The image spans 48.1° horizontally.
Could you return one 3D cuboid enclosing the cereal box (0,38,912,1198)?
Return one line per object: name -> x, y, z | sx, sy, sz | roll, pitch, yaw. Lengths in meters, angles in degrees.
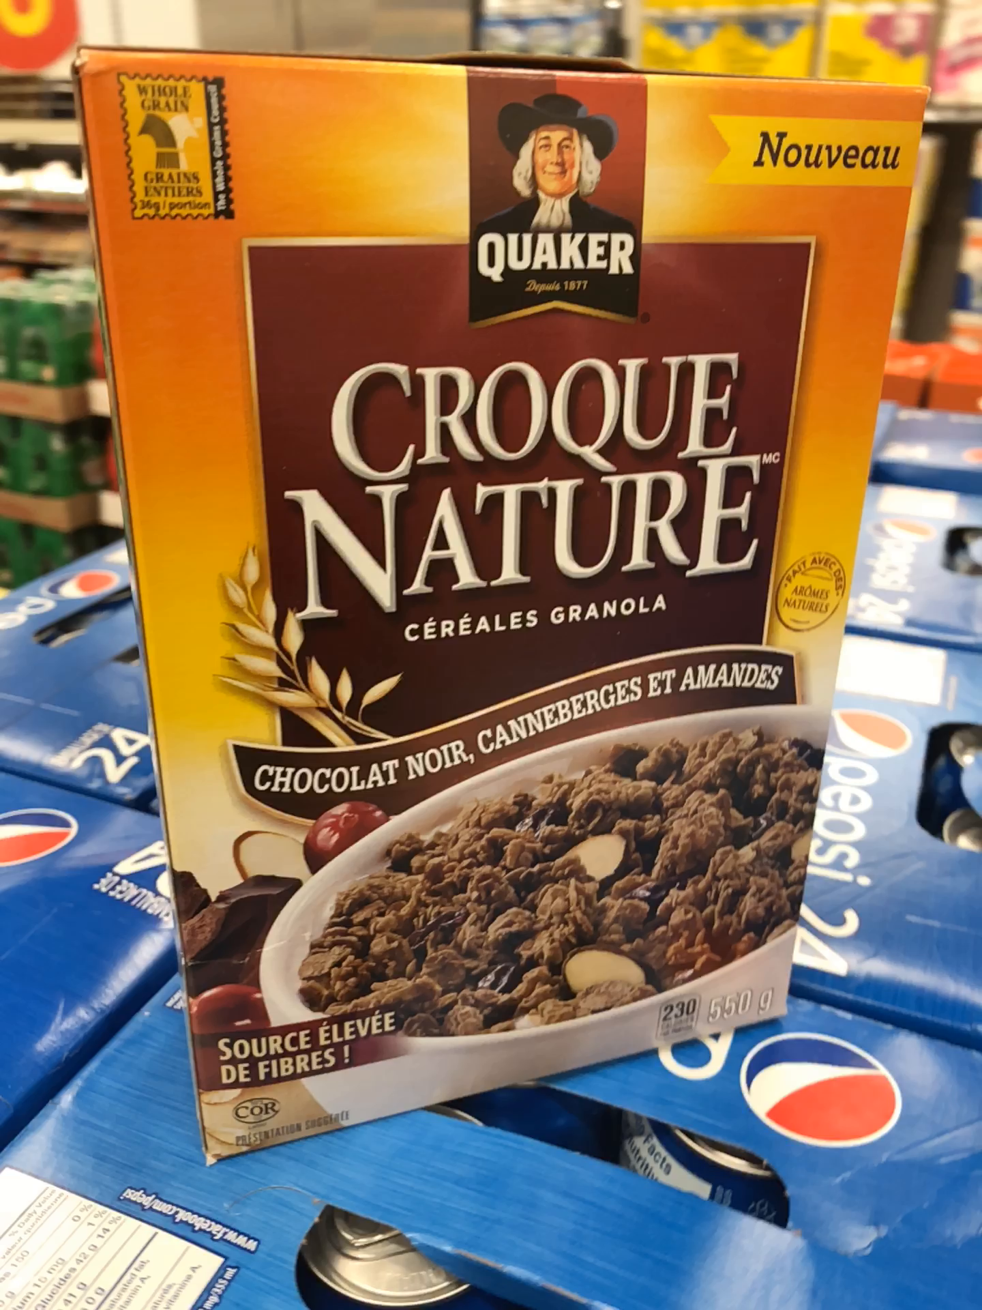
cereal box -> -0.011, -0.004, 0.248 | 0.160, 0.229, 0.060 | -8, 26, -16
